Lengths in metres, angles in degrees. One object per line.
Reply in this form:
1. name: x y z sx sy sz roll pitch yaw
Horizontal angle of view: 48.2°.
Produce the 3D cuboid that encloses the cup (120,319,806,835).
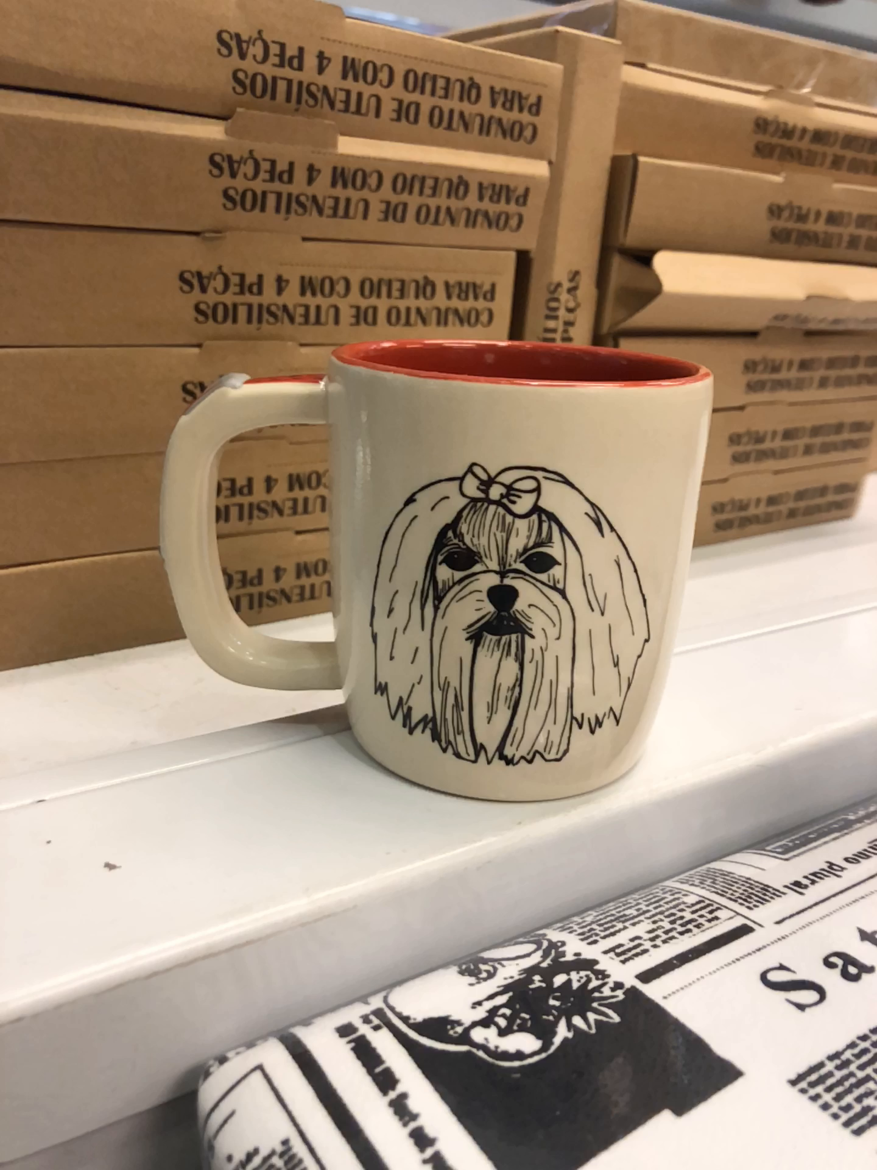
1. cup: -0.001 -0.009 0.226 0.120 0.089 0.091 0 19 -8
